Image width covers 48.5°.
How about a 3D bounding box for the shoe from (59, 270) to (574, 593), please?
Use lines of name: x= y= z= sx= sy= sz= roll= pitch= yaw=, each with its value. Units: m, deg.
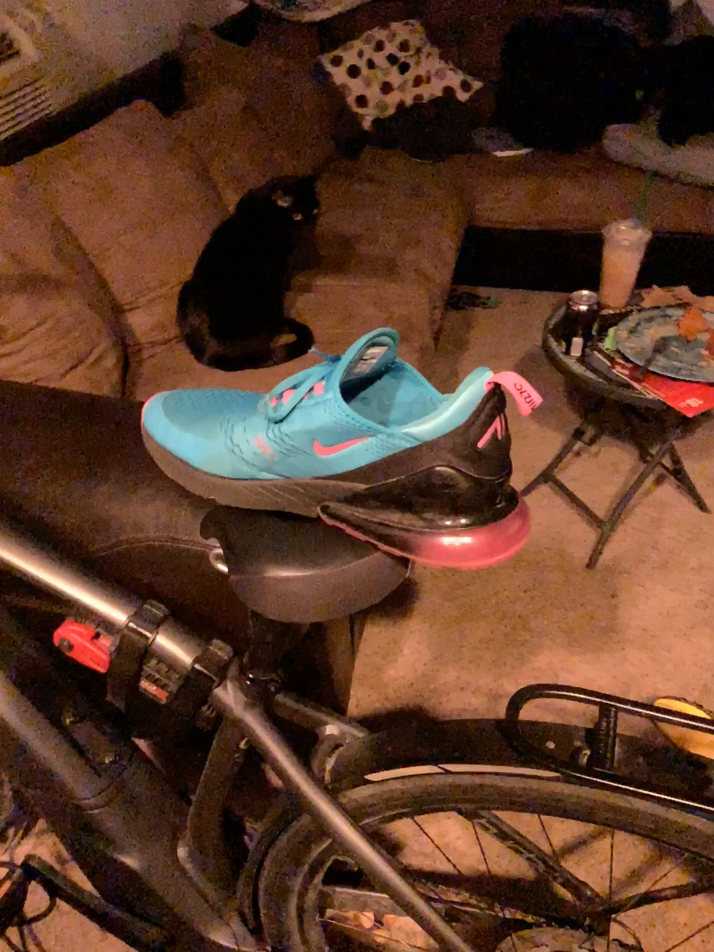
shoe: x=-0.023 y=-0.046 z=0.596 sx=0.330 sy=0.130 sz=0.150 roll=11 pitch=40 yaw=15
